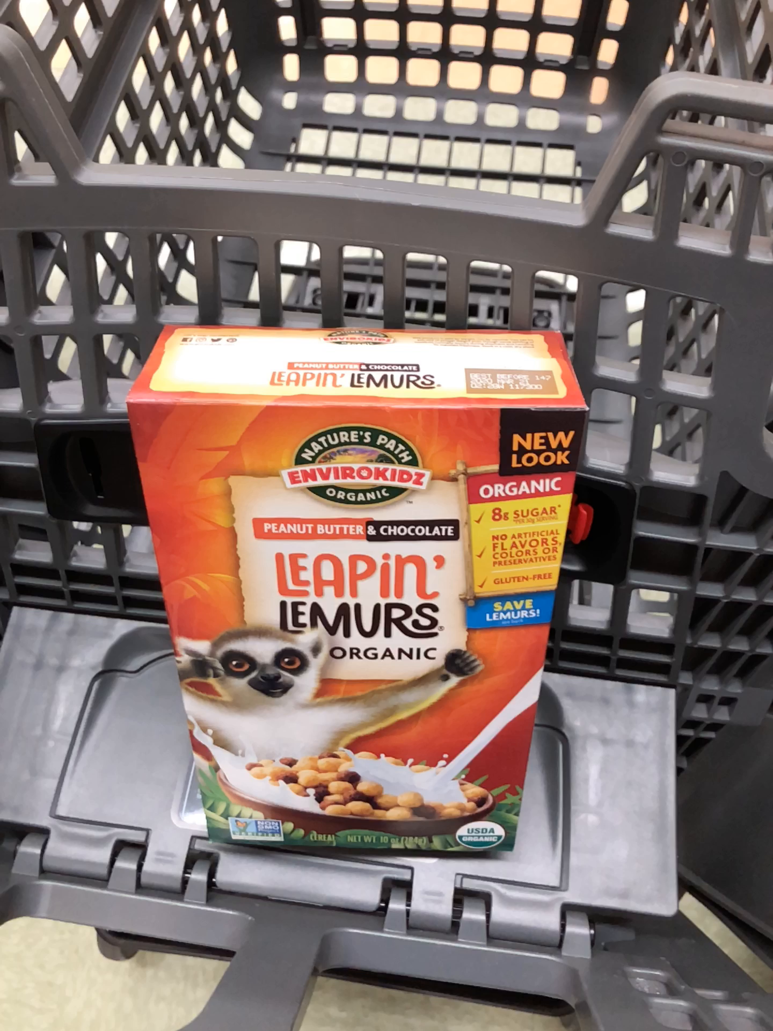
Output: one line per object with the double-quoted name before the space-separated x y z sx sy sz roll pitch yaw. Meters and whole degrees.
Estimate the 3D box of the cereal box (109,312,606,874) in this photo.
"cereal box" -0.009 0.049 0.379 0.160 0.260 0.070 1 35 1
